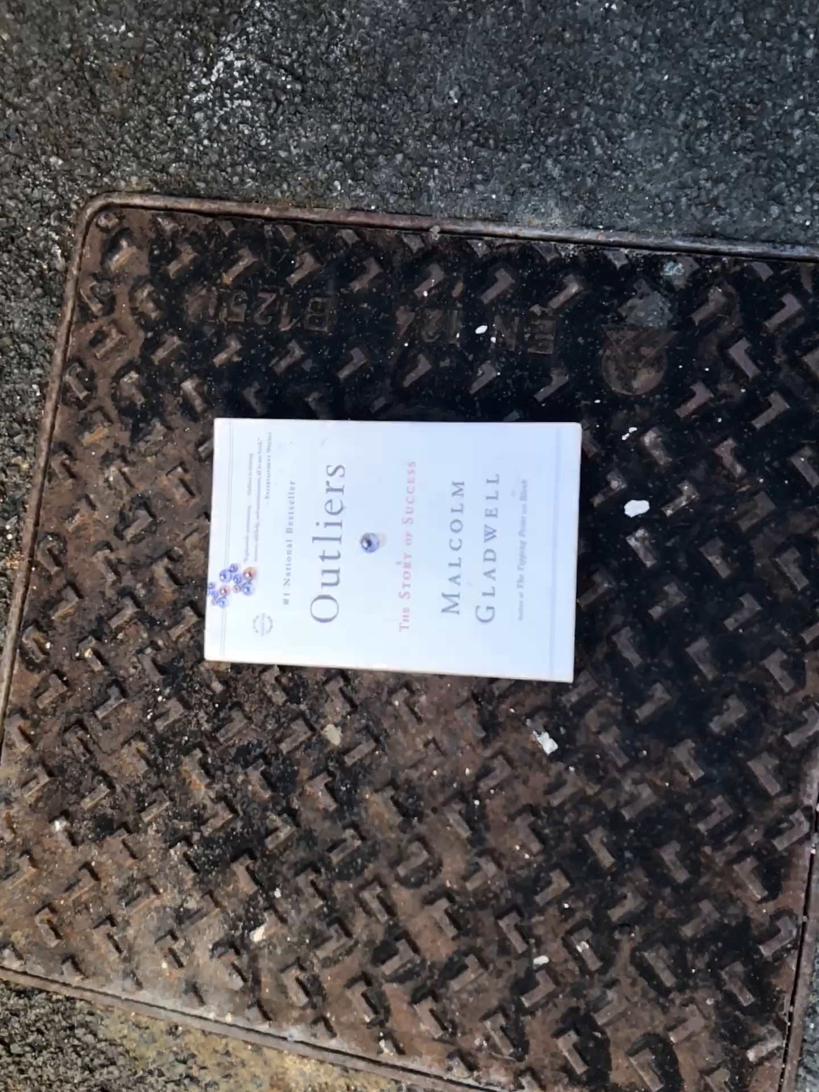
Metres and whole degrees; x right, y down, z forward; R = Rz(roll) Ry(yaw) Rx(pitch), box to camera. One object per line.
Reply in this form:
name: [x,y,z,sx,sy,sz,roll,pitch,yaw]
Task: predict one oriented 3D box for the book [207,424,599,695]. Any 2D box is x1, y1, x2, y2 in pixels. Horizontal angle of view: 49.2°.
book: [-0.004,0.005,0.499,0.209,0.030,0.139,2,86,10]
